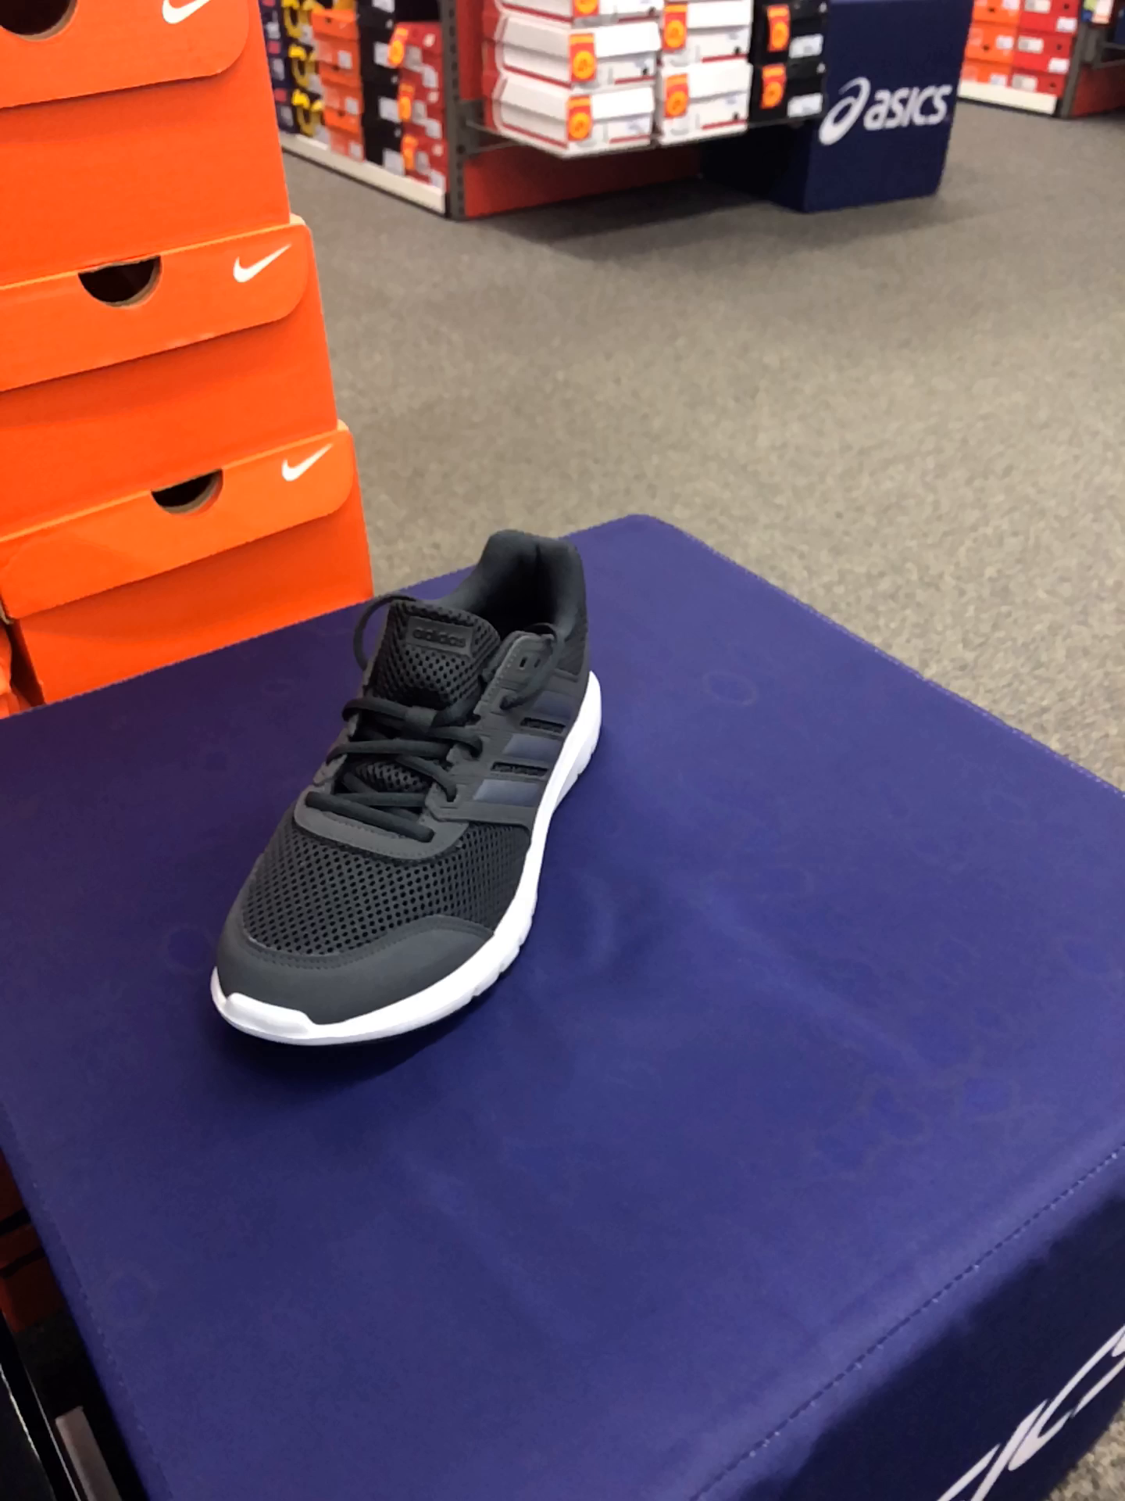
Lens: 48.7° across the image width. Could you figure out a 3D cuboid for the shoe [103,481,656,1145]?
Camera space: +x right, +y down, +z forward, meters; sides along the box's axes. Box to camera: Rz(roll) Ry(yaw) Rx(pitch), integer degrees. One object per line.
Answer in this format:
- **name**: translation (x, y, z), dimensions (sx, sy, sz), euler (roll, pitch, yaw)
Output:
- **shoe**: translation (-0.049, 0.002, 0.509), dimensions (0.101, 0.106, 0.282), euler (11, 38, 14)
